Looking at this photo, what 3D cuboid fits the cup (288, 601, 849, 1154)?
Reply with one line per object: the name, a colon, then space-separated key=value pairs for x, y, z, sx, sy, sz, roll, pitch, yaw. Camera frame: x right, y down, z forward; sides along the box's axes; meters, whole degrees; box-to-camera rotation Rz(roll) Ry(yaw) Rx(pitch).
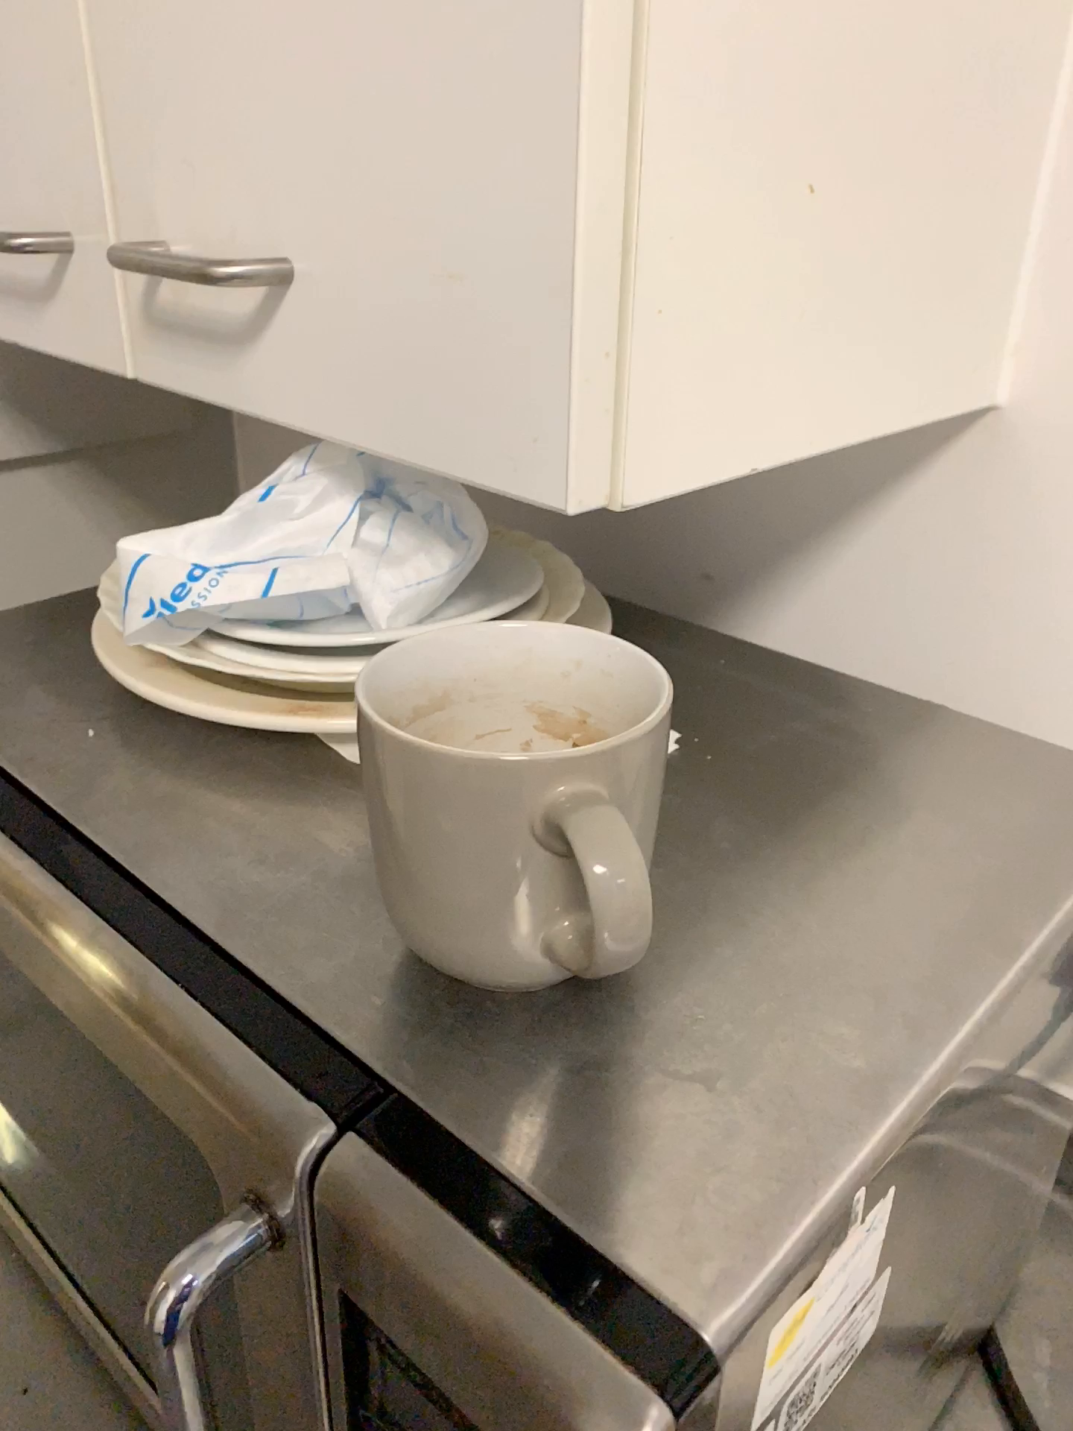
cup: x=0.001 y=0.032 z=0.313 sx=0.101 sy=0.079 sz=0.124 roll=-13 pitch=29 yaw=-27
